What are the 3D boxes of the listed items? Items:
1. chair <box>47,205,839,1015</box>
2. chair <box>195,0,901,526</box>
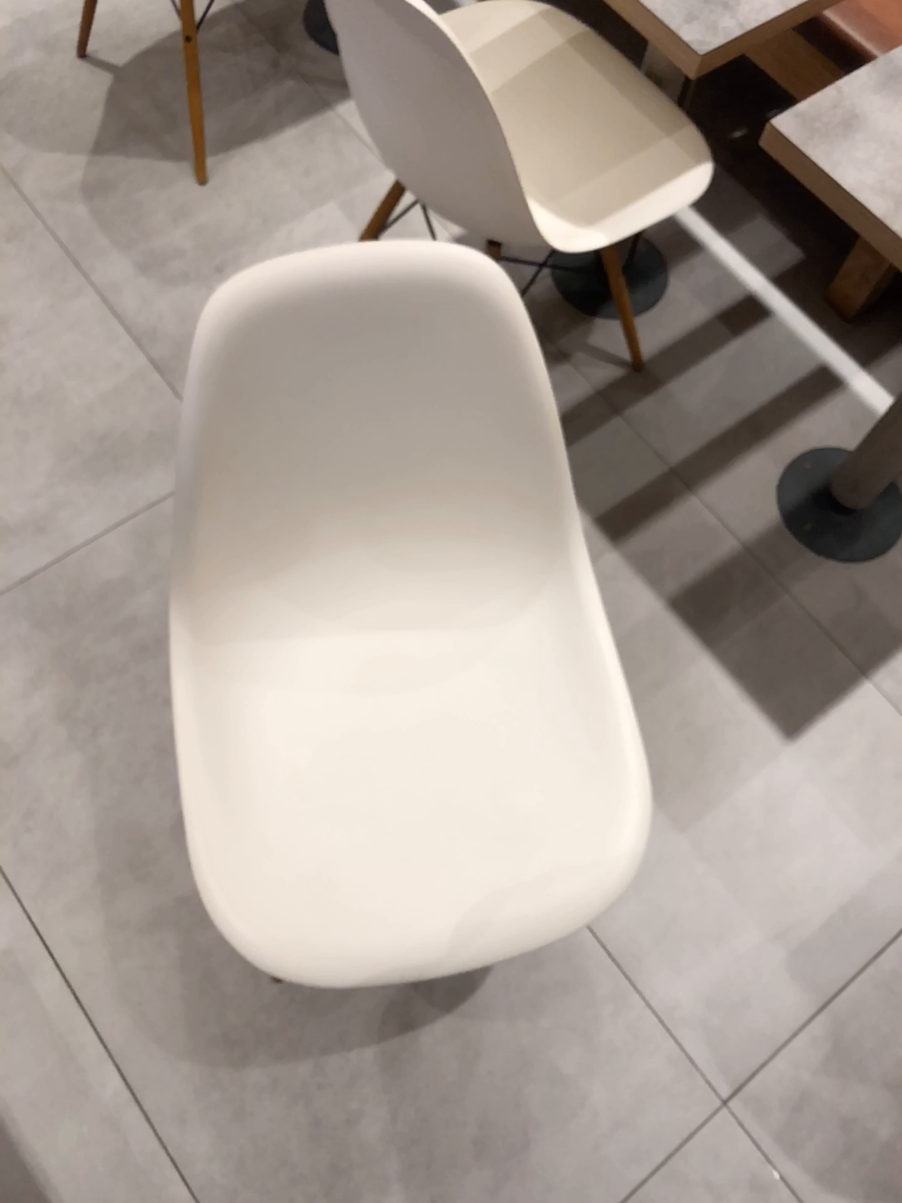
[{"bbox_3d":[-0.060,0.099,1.083,0.471,0.781,0.553,-10,68,-9],"label":"chair"},{"bbox_3d":[0.076,-0.619,1.402,0.513,0.771,0.561,-34,74,-17],"label":"chair"}]
